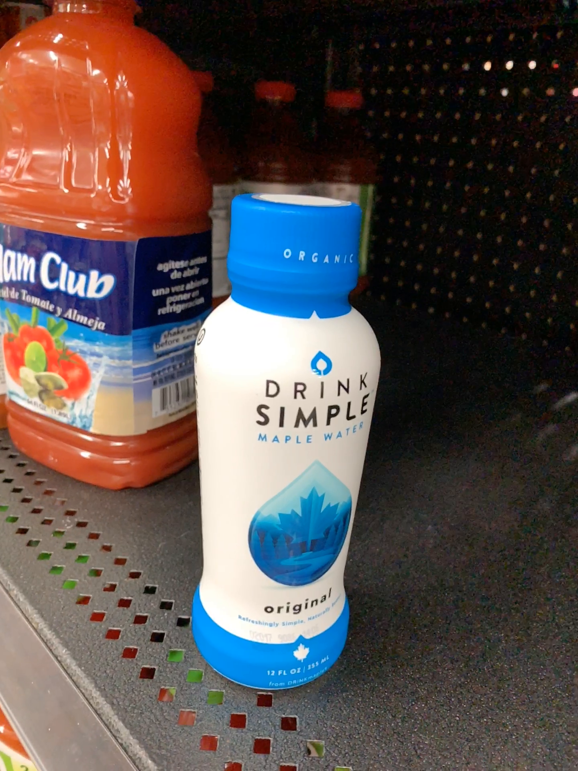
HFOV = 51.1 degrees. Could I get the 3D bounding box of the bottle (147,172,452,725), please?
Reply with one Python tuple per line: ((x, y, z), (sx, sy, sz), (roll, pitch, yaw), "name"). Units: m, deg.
((-0.005, 0.019, 0.208), (0.070, 0.169, 0.066), (2, 23, -1), "bottle")
